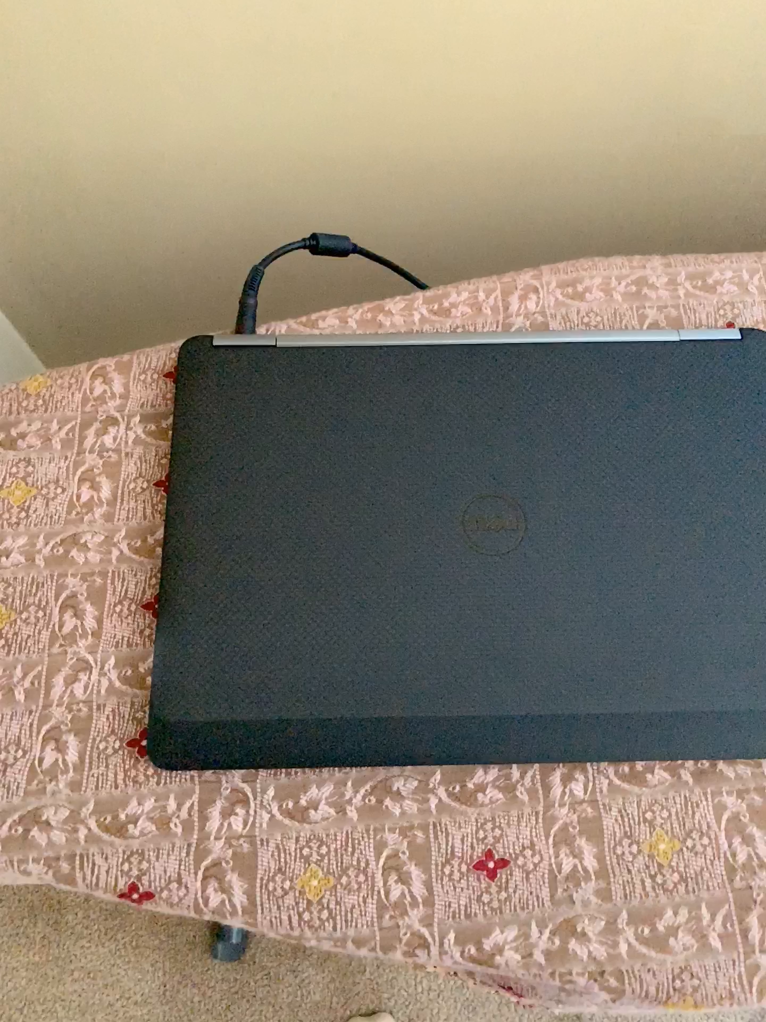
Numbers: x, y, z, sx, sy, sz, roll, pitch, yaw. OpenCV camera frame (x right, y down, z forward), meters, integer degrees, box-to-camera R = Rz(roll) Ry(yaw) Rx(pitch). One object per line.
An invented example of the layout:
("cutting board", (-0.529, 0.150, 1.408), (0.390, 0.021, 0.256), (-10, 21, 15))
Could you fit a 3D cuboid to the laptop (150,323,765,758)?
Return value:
("laptop", (0.047, 0.010, 0.365), (0.293, 0.017, 0.197), (-1, 72, 3))
